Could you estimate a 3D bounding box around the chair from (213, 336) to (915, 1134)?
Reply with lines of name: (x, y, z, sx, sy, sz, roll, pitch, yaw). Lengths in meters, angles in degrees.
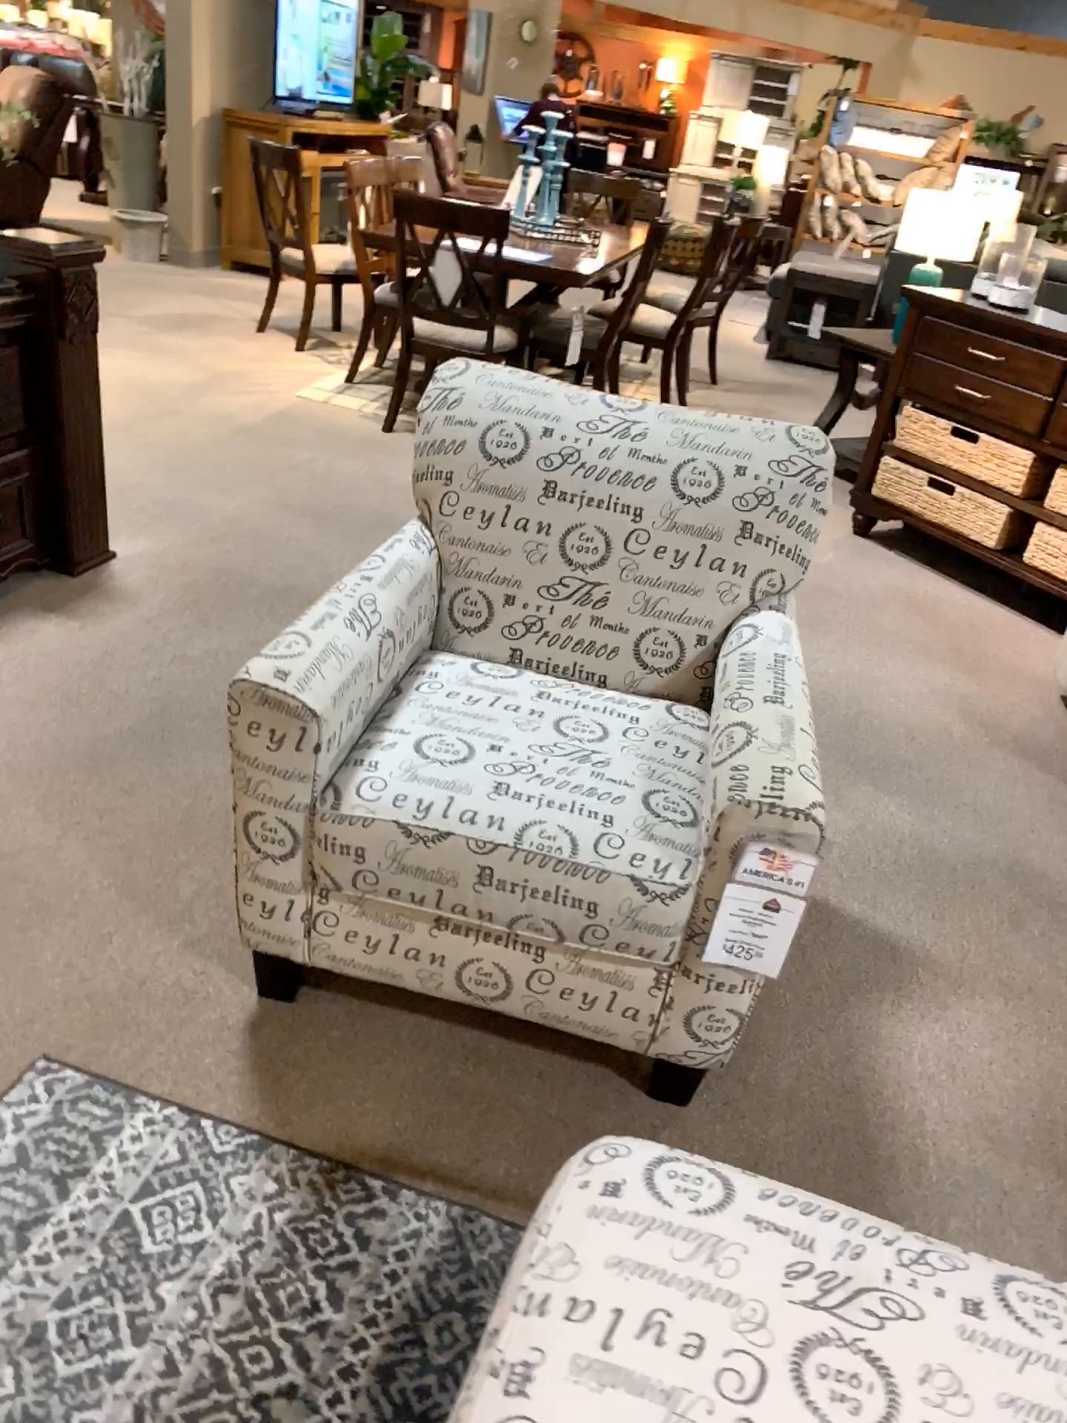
chair: (0.047, -0.041, 1.862, 0.834, 0.869, 0.920, 13, 30, 5)
